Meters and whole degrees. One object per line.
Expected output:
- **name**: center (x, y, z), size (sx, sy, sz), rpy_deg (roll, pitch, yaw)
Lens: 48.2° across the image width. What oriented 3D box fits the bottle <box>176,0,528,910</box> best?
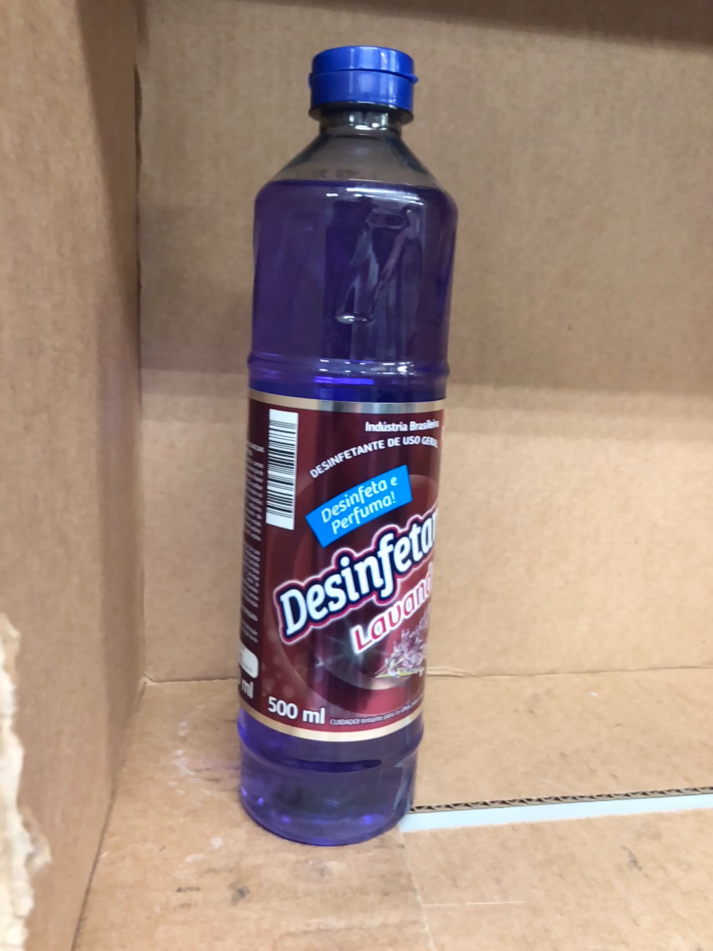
- **bottle**: center (-0.008, -0.006, 0.247), size (0.070, 0.239, 0.070), rpy_deg (3, 12, -1)
